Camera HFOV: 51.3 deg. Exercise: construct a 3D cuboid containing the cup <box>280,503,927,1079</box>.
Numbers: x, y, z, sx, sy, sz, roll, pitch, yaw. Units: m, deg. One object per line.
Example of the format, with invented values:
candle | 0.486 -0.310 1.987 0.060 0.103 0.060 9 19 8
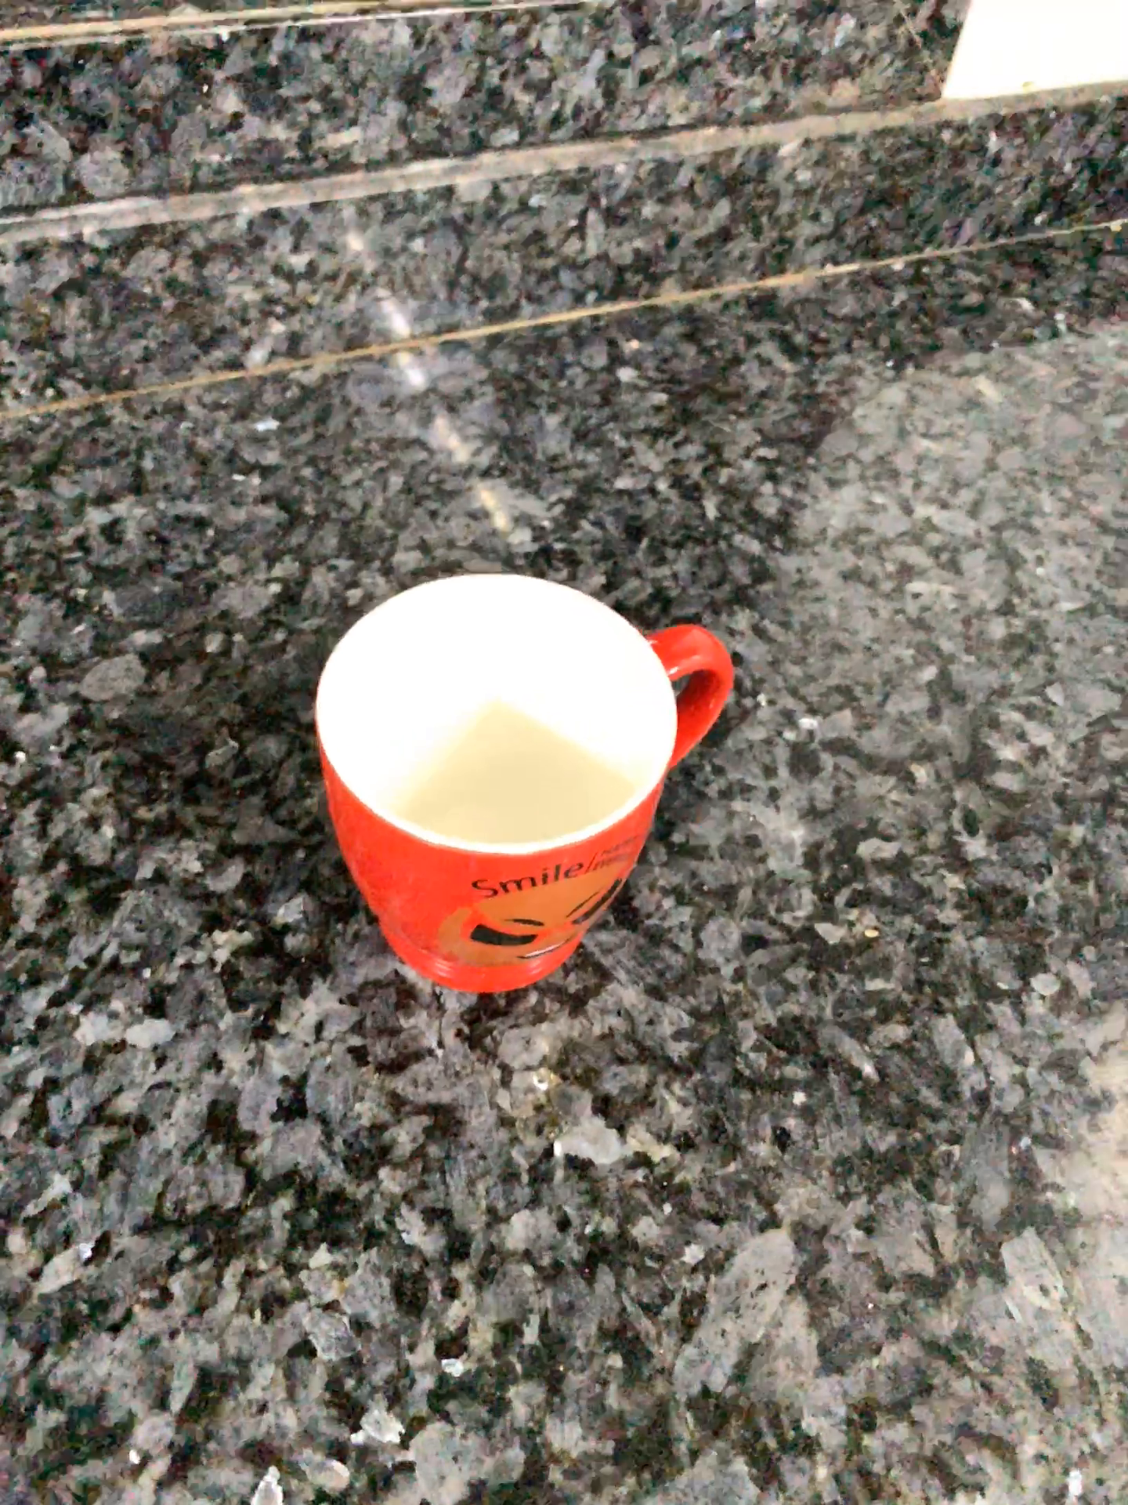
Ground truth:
cup | 0.005 0.006 0.261 0.110 0.069 0.070 -19 57 -21
